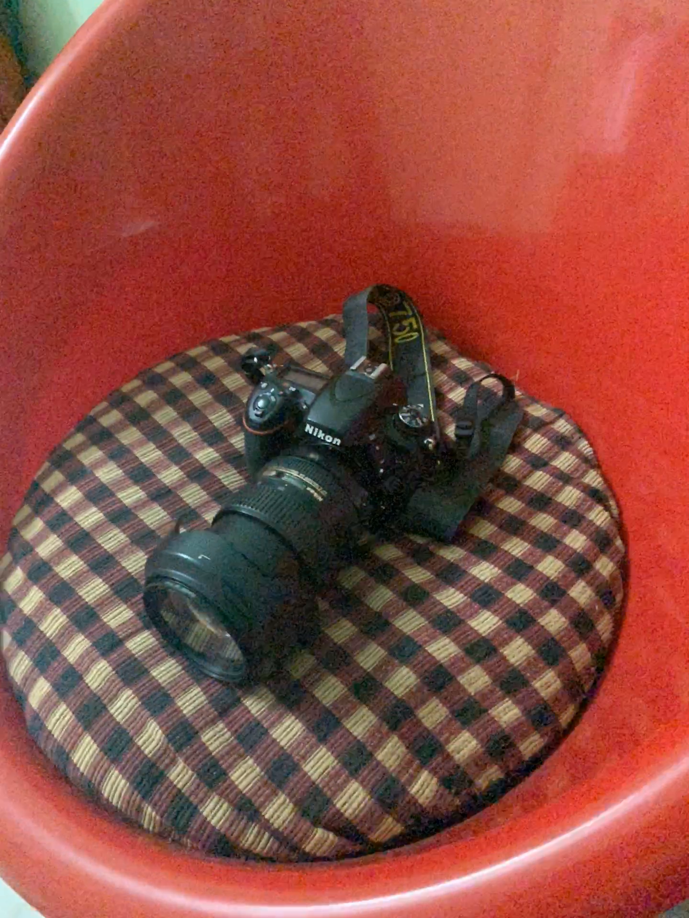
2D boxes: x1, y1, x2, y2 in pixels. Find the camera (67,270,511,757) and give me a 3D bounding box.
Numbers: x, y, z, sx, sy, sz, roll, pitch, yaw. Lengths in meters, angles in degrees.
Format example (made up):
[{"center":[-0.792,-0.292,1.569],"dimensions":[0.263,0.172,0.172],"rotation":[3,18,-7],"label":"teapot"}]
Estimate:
[{"center":[-0.019,0.029,0.506],"dimensions":[0.160,0.179,0.253],"rotation":[24,56,22],"label":"camera"}]
